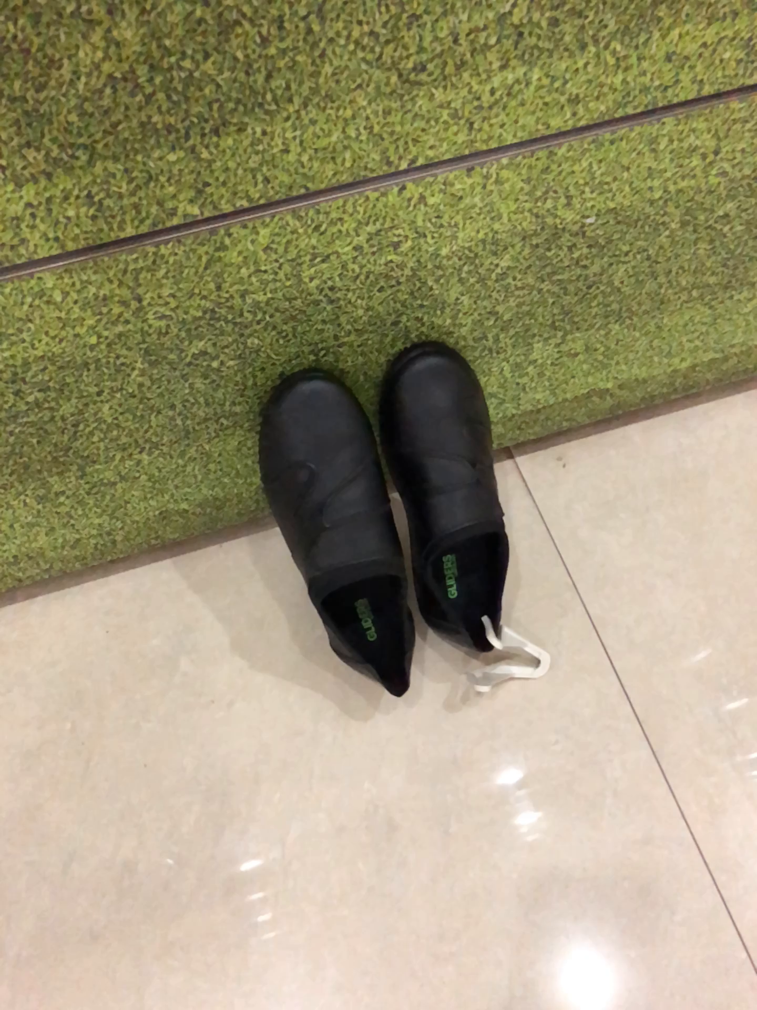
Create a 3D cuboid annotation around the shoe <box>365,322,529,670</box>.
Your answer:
[{"bbox_3d":[0.051,-0.003,0.594,0.074,0.229,0.067,-12,26,-4],"label":"shoe"}]

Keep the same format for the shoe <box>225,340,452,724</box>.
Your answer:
[{"bbox_3d":[-0.030,0.017,0.617,0.087,0.248,0.107,-18,21,-6],"label":"shoe"}]
